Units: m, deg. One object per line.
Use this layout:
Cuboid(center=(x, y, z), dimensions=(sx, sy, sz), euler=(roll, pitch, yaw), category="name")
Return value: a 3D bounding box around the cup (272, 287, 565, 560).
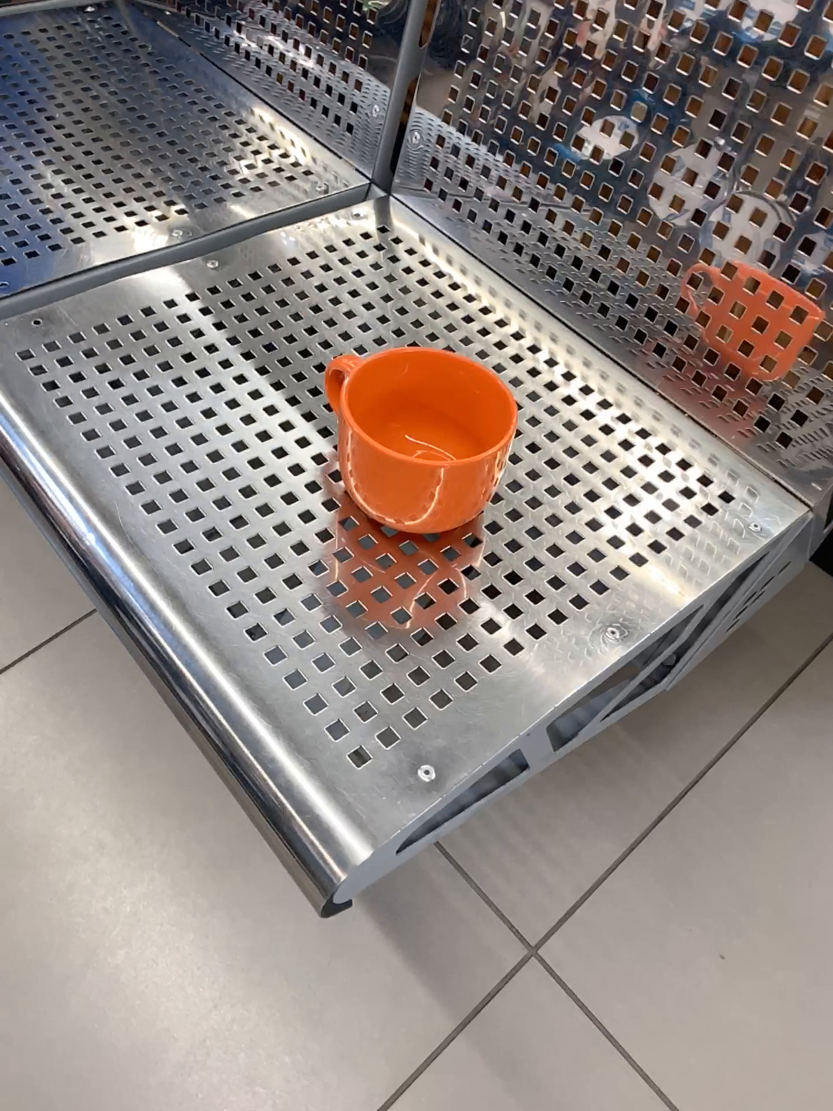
Cuboid(center=(-0.004, -0.091, 0.554), dimensions=(0.110, 0.070, 0.150), euler=(-31, 61, -31), category="cup")
